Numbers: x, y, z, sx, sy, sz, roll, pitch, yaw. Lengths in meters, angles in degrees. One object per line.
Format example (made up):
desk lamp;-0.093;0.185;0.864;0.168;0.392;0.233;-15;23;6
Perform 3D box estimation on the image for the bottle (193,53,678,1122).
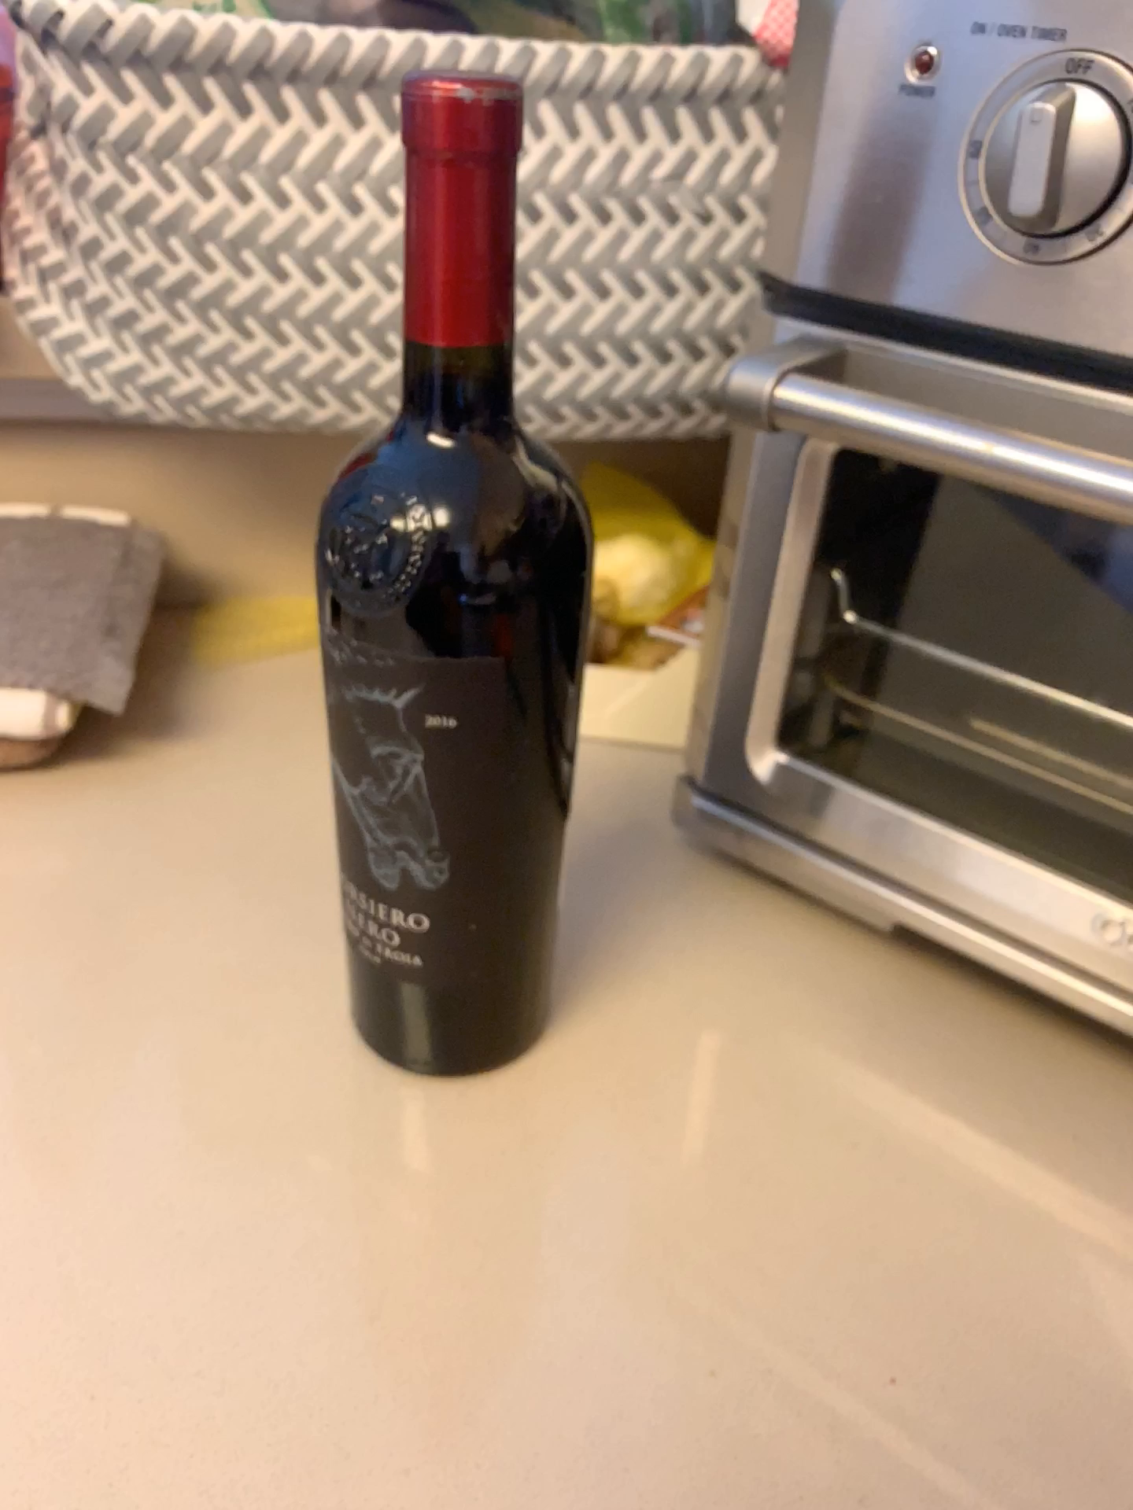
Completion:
bottle;-0.036;-0.034;0.335;0.080;0.278;0.070;24;37;28
